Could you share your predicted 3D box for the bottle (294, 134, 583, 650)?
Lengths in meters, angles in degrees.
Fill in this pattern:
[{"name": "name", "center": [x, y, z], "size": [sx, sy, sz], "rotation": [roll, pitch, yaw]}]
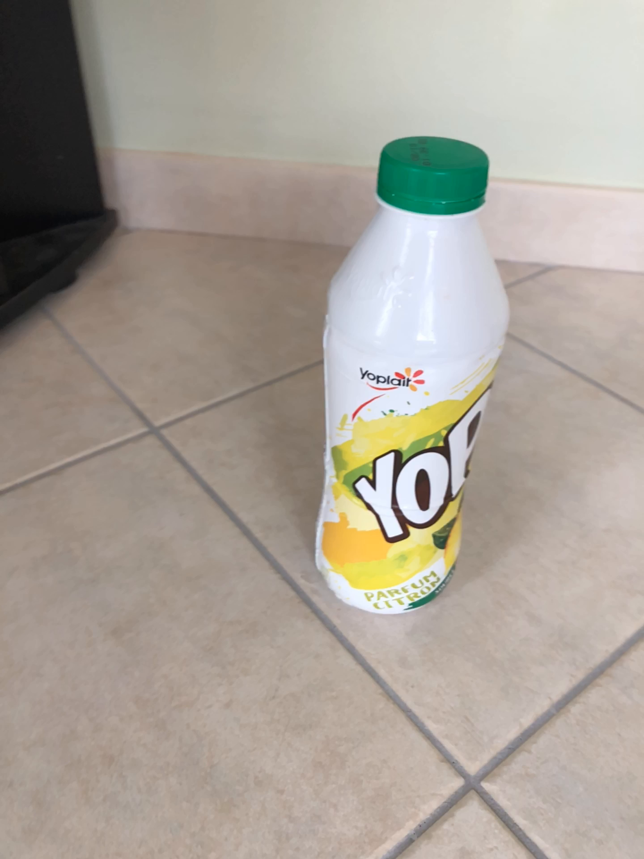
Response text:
[{"name": "bottle", "center": [0.037, -0.006, 0.338], "size": [0.080, 0.229, 0.080], "rotation": [1, 39, -1]}]
